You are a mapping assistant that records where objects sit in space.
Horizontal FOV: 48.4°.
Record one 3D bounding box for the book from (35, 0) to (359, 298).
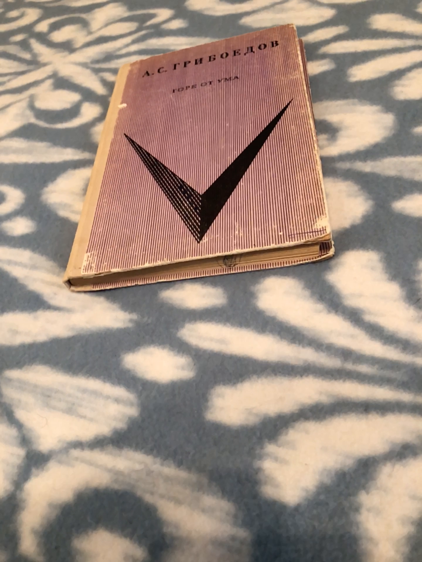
[{"bbox_3d":[-0.006,-0.094,0.291,0.158,0.020,0.218,-7,53,13],"label":"book"}]
